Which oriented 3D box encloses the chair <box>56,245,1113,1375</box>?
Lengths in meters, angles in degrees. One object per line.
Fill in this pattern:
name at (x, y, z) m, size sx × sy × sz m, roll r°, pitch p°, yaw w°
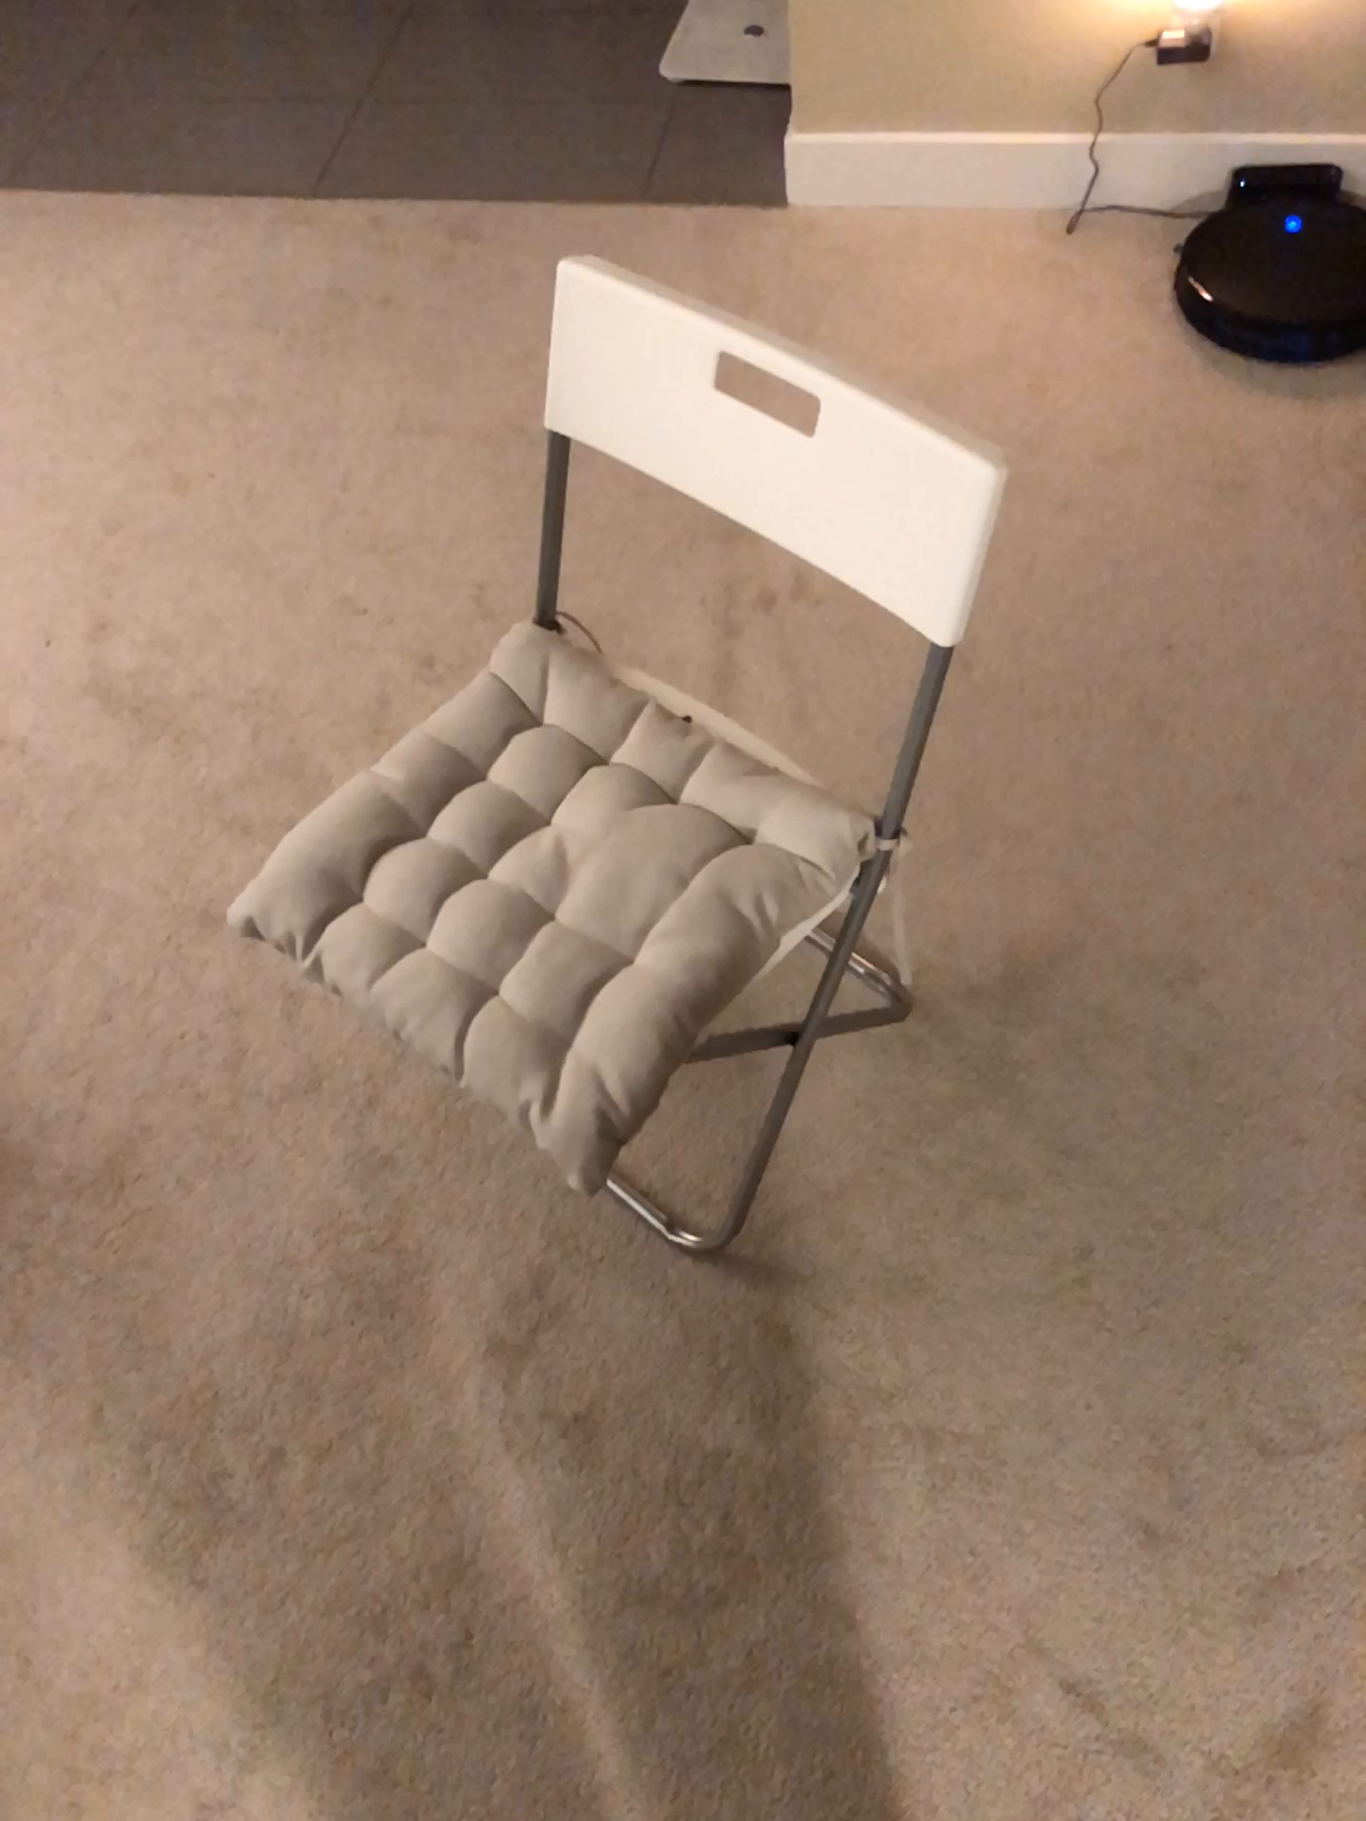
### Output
chair at (-0.037, -0.062, 1.314) m, size 0.511 × 0.667 × 0.541 m, roll 34°, pitch 66°, yaw 25°
